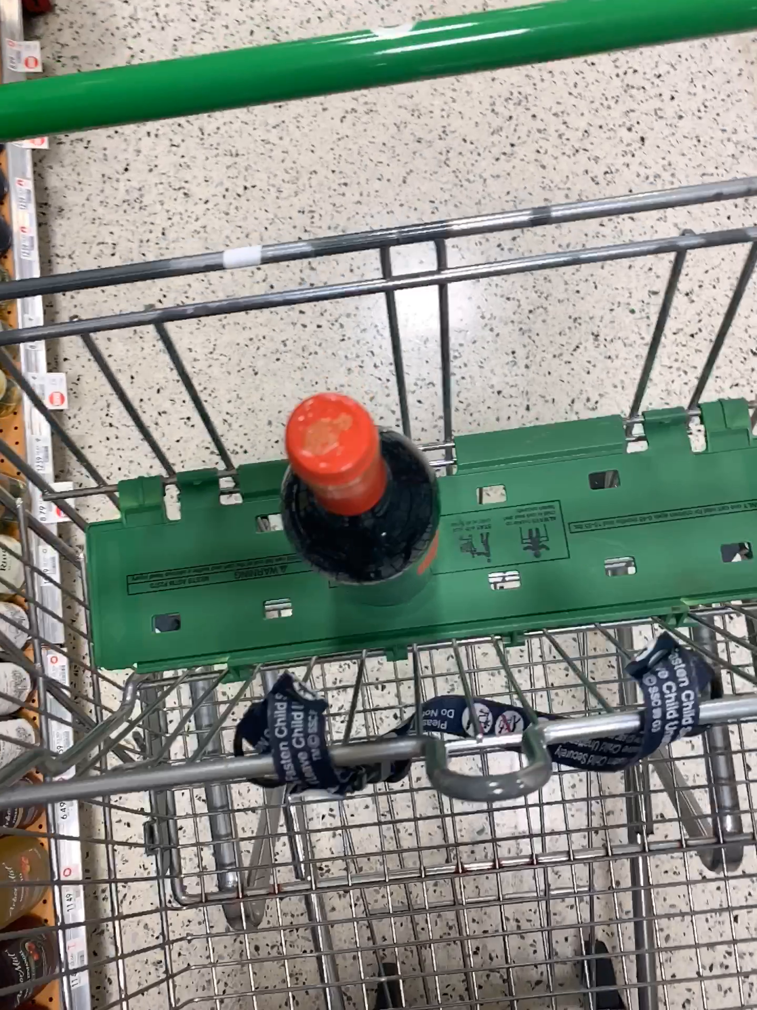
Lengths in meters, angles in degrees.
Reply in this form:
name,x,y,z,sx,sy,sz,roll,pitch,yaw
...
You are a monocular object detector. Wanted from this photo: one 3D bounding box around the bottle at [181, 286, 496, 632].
name,x,y,z,sx,sy,sz,roll,pitch,yaw
bottle,-0.004,0.008,0.384,0.080,0.299,0.080,-1,79,4
